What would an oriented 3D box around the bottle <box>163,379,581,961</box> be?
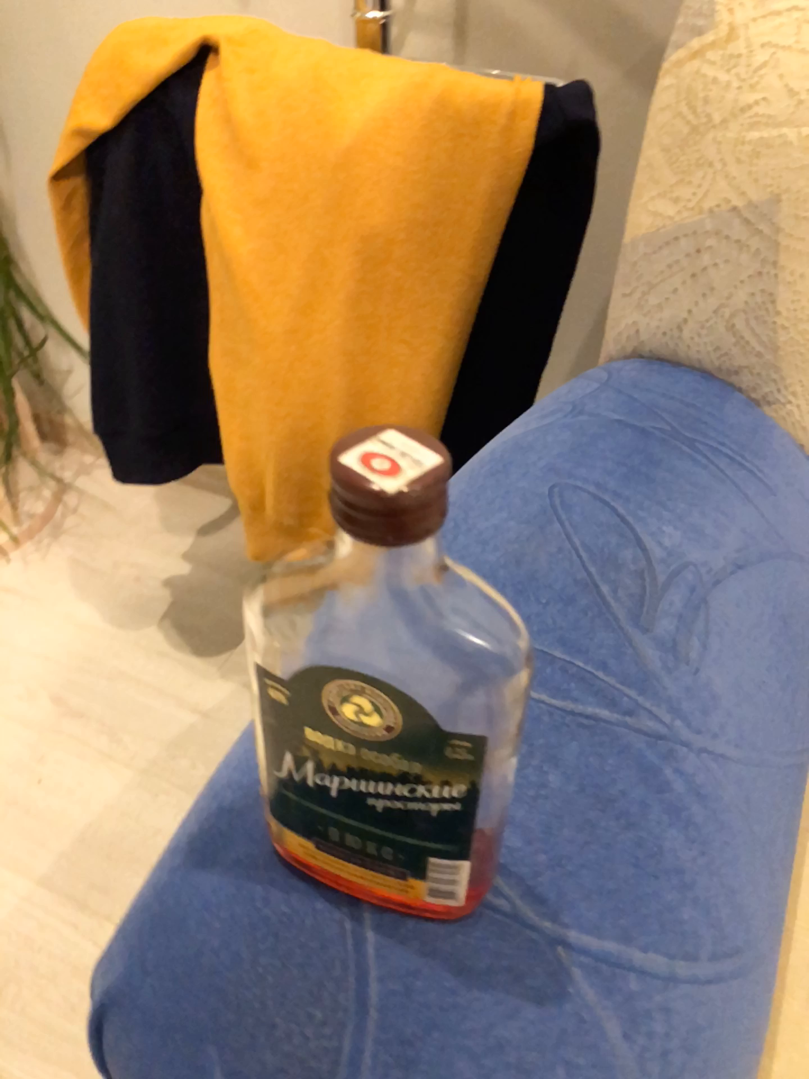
[{"bbox_3d":[-0.007,0.049,0.267,0.090,0.179,0.040,14,42,17],"label":"bottle"}]
